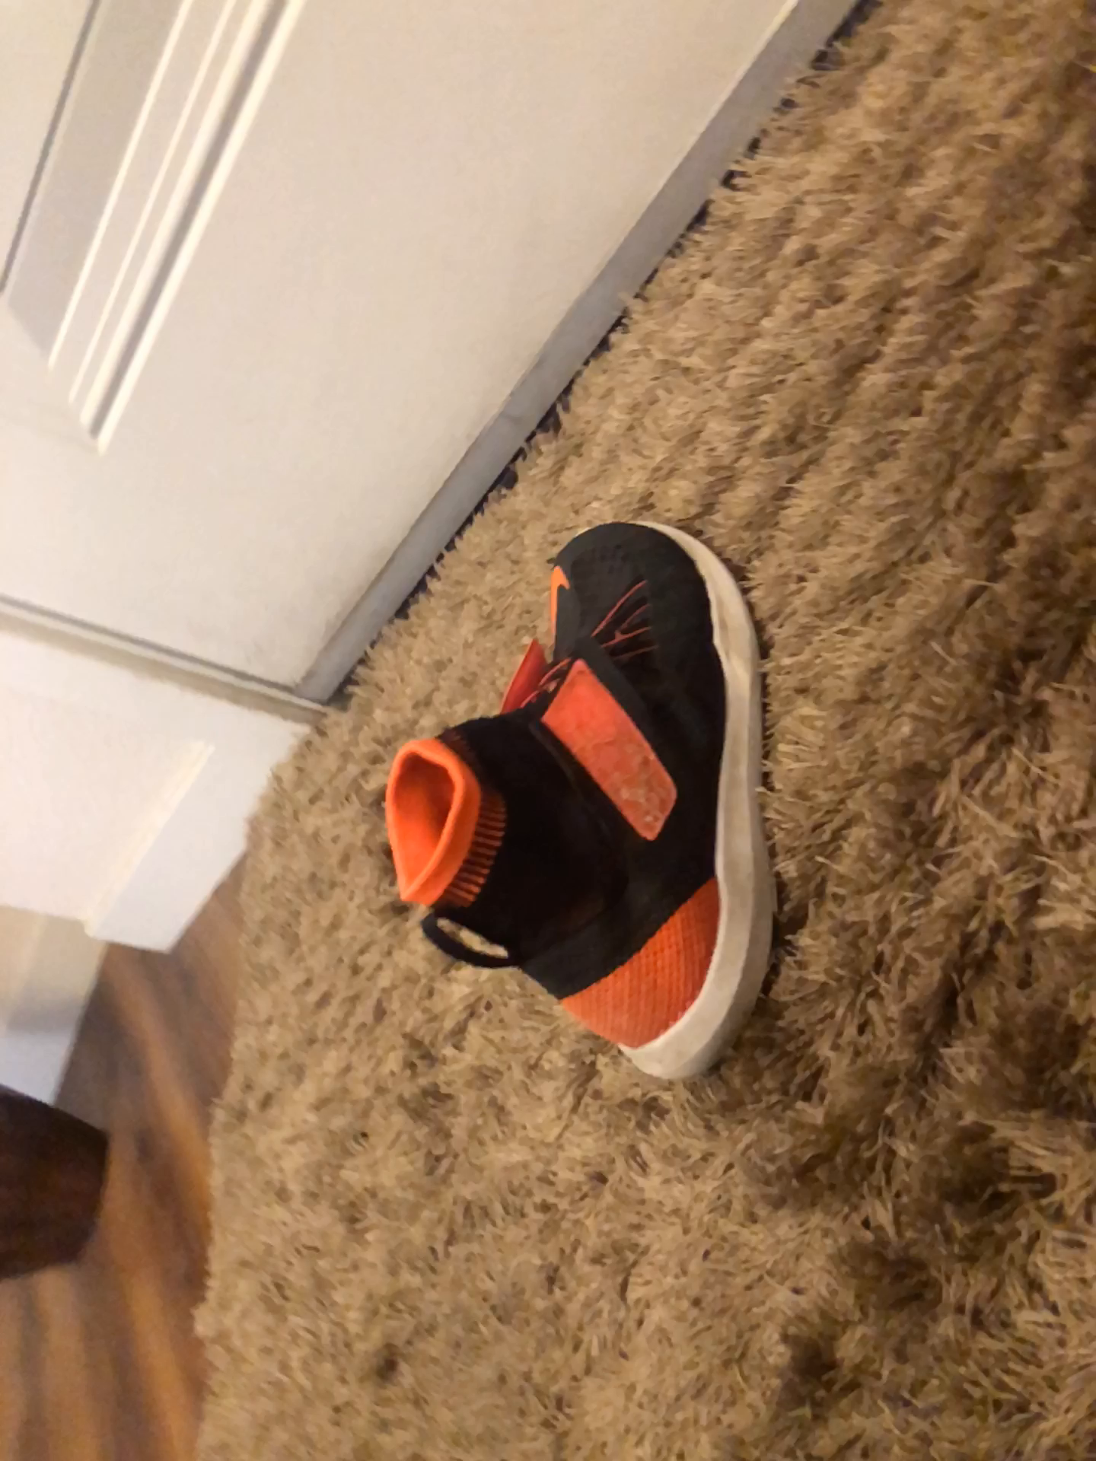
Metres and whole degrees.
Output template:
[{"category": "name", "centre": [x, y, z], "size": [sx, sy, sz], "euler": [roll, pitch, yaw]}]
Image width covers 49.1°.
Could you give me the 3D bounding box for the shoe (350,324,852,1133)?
[{"category": "shoe", "centre": [0.010, -0.005, 0.509], "size": [0.111, 0.139, 0.303], "euler": [-42, 41, 43]}]
